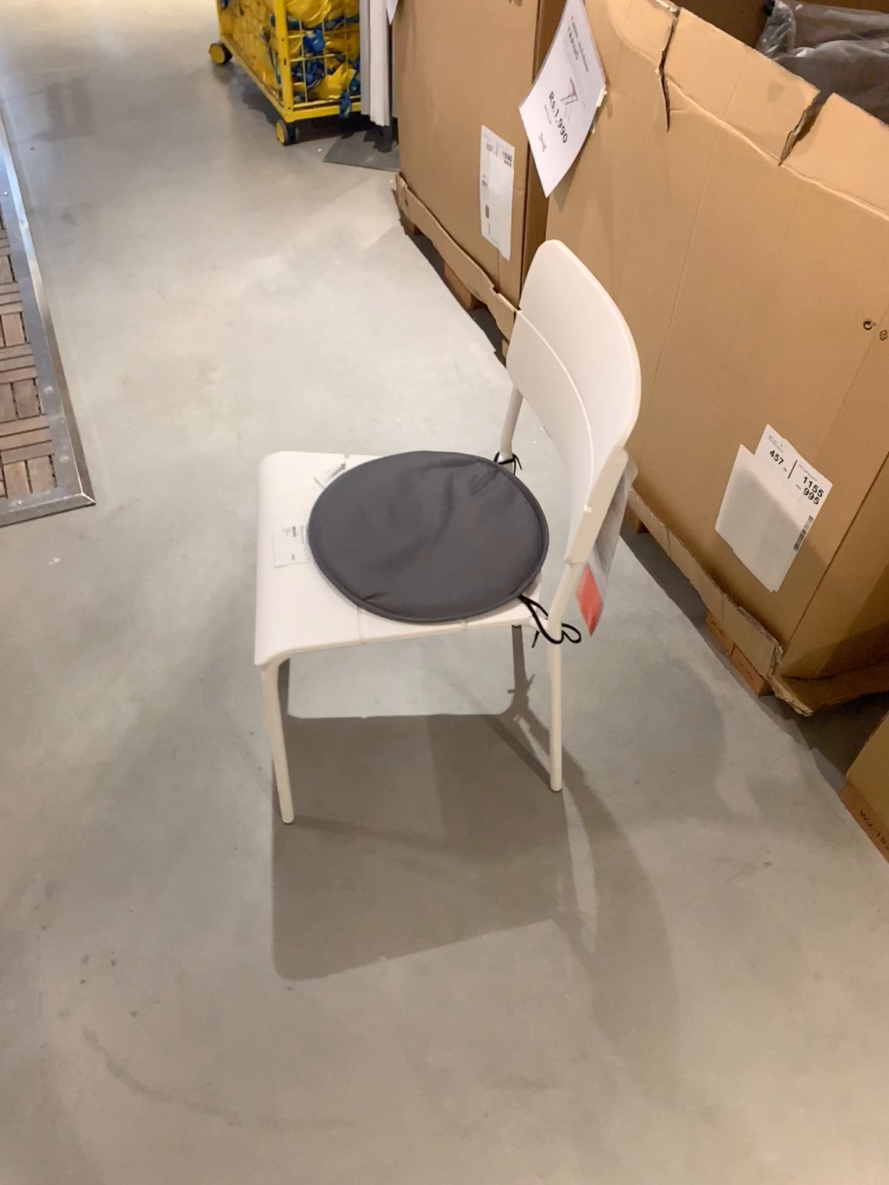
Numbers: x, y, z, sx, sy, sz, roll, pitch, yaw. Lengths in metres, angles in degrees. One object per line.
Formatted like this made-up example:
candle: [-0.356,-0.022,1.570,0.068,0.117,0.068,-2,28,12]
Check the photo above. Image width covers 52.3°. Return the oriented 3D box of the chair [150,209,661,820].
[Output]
chair: [-0.069,-0.079,1.285,0.490,0.717,0.462,-4,49,-6]
